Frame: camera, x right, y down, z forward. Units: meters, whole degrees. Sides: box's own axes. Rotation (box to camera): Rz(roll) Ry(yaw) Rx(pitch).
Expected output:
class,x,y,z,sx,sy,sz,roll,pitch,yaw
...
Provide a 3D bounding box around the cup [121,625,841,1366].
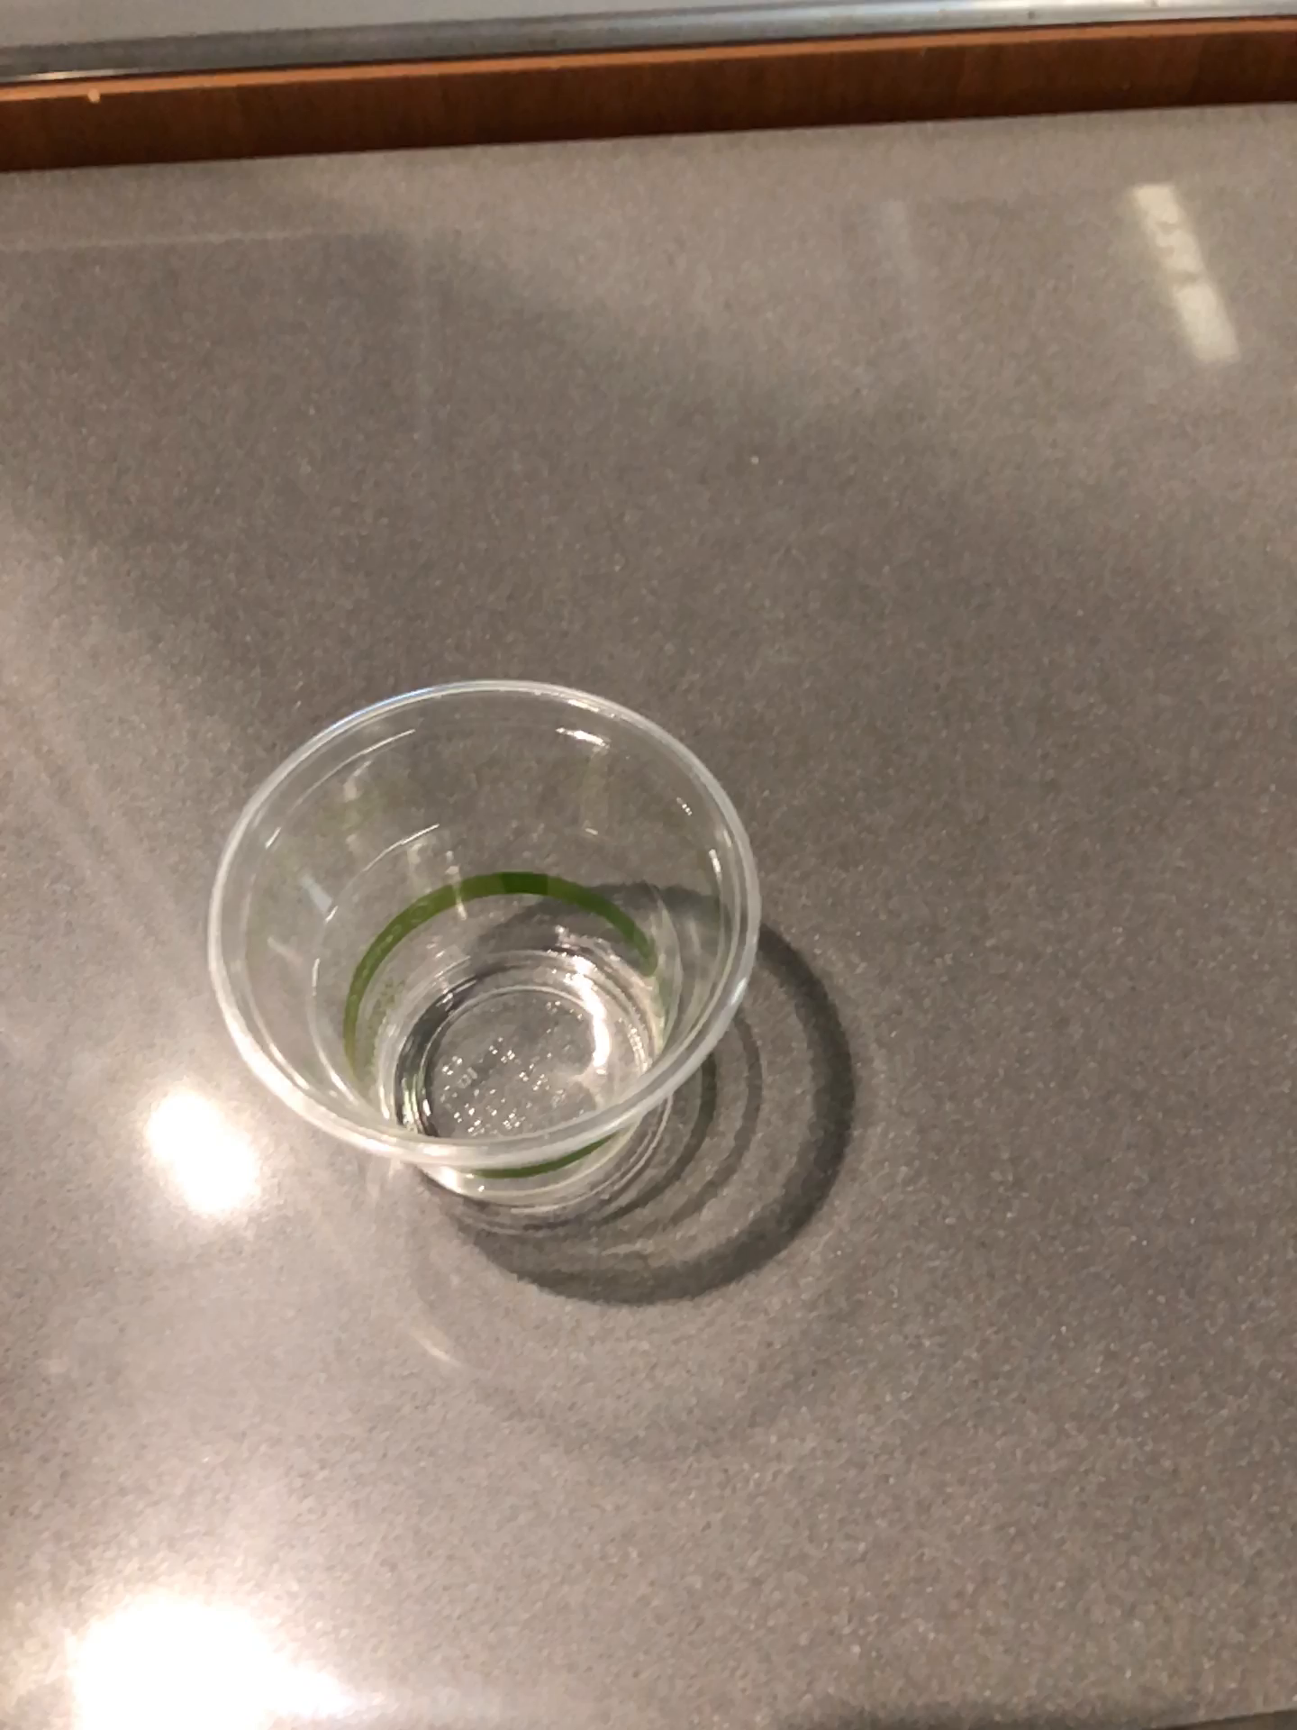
class,x,y,z,sx,sy,sz,roll,pitch,yaw
cup,-0.019,0.019,0.213,0.070,0.060,0.070,0,57,0
